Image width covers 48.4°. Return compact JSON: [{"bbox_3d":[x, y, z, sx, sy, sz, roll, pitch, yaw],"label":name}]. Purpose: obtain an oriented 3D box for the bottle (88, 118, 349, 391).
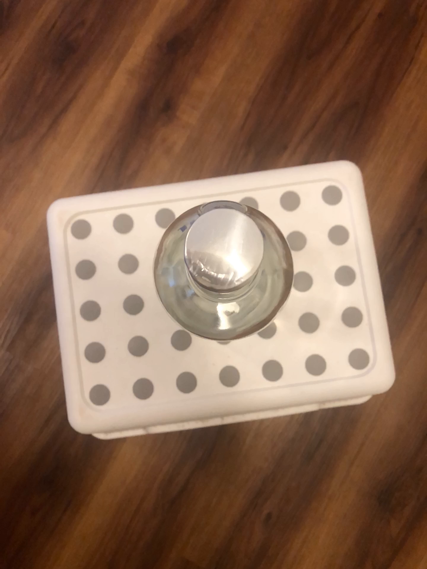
[{"bbox_3d":[0.004,-0.002,0.342,0.090,0.270,0.100,16,85,2],"label":"bottle"}]
